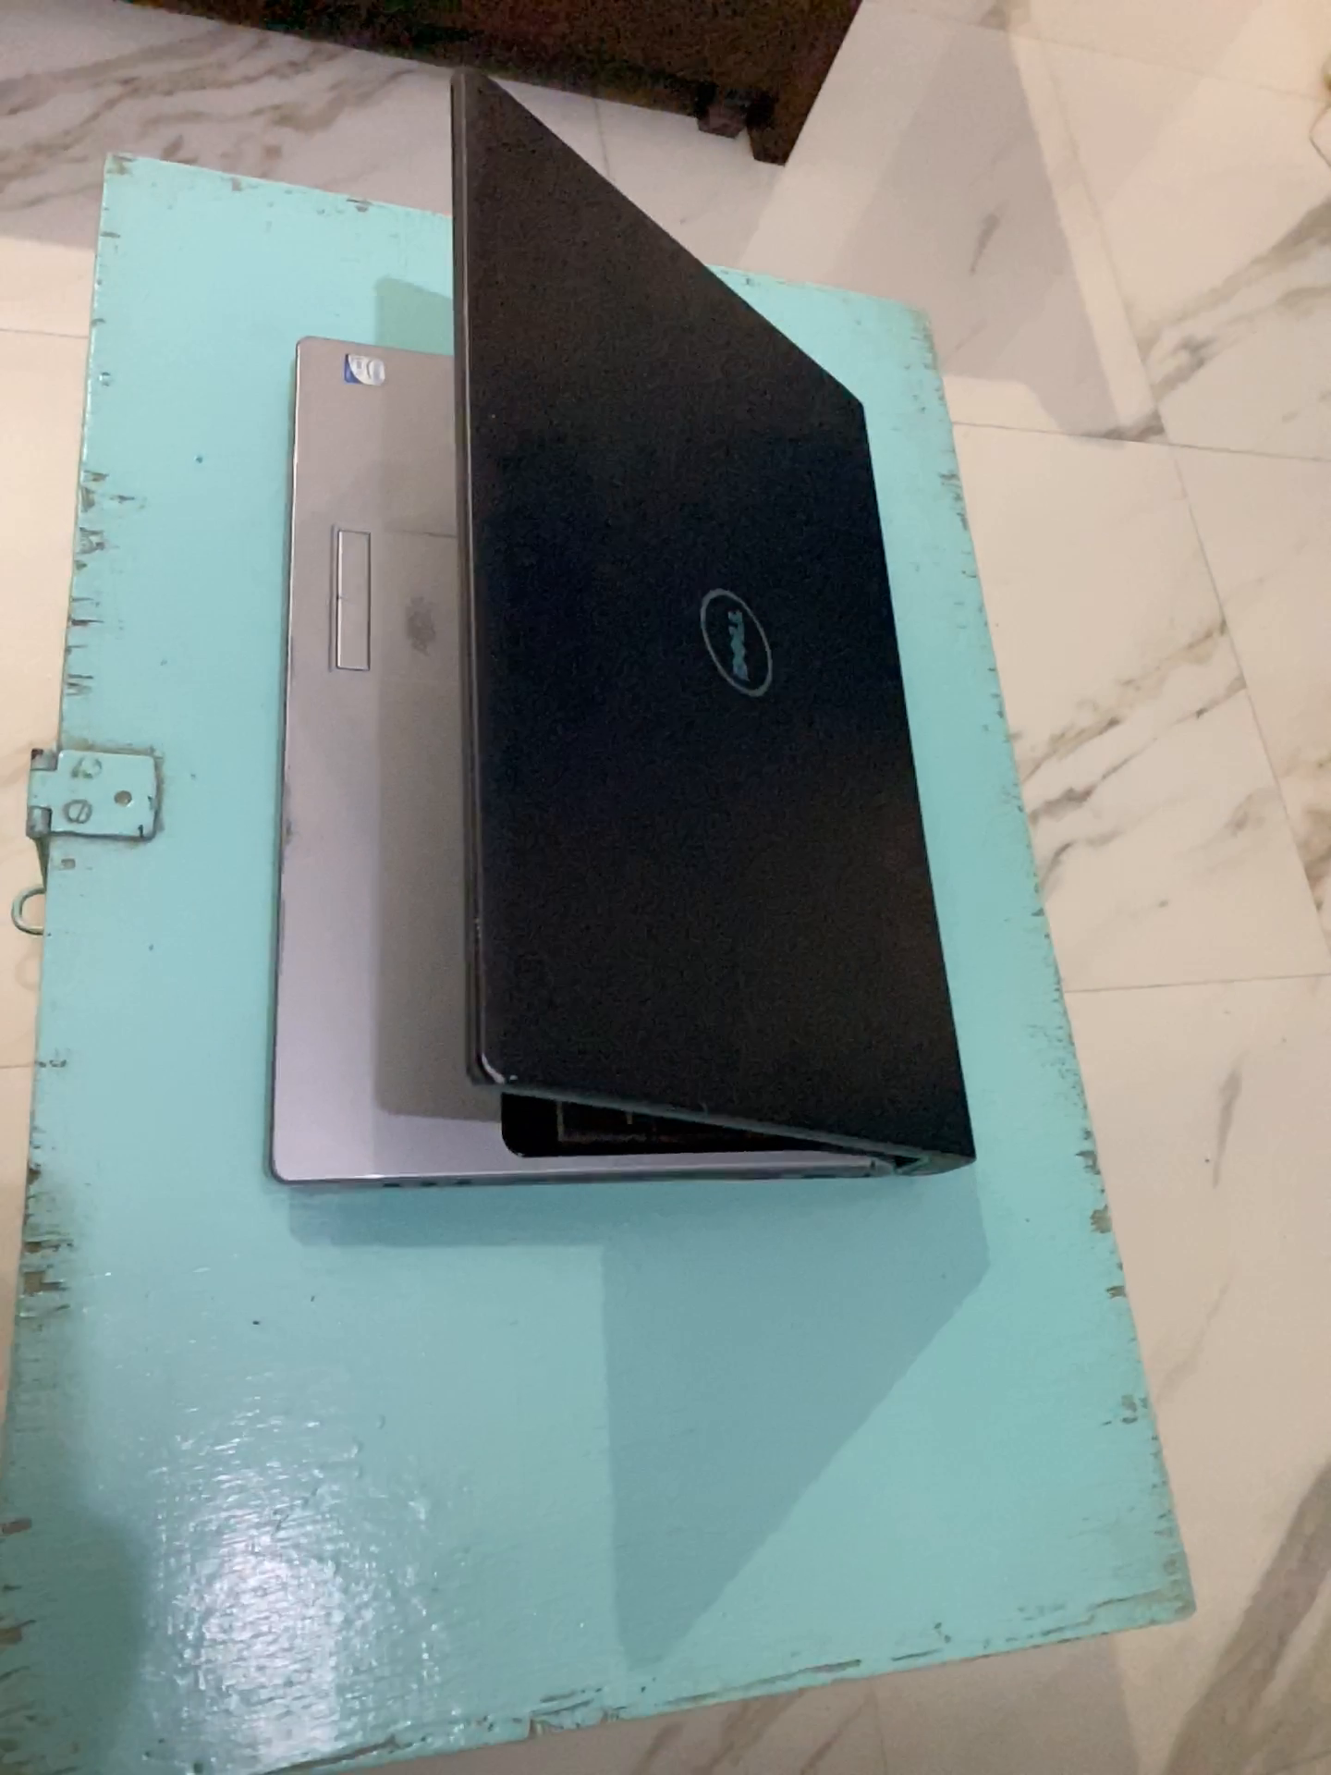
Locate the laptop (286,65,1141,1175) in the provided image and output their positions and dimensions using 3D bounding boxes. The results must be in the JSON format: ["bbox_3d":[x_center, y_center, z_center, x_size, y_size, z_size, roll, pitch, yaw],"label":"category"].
[{"bbox_3d":[-0.008,-0.096,0.543,0.261,0.152,0.387,2,68,-17],"label":"laptop"}]
